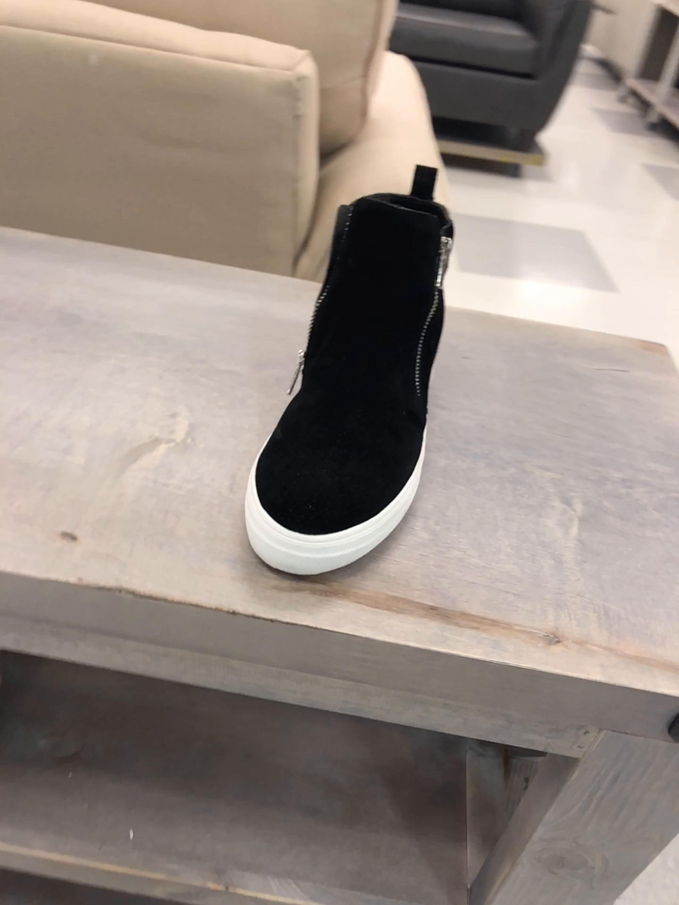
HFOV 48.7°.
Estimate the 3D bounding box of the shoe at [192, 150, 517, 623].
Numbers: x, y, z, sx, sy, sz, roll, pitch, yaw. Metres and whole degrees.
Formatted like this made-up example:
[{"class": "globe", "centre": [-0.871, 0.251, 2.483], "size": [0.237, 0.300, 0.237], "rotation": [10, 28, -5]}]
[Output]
[{"class": "shoe", "centre": [0.023, -0.065, 0.465], "size": [0.106, 0.146, 0.292], "rotation": [16, 38, 9]}]
